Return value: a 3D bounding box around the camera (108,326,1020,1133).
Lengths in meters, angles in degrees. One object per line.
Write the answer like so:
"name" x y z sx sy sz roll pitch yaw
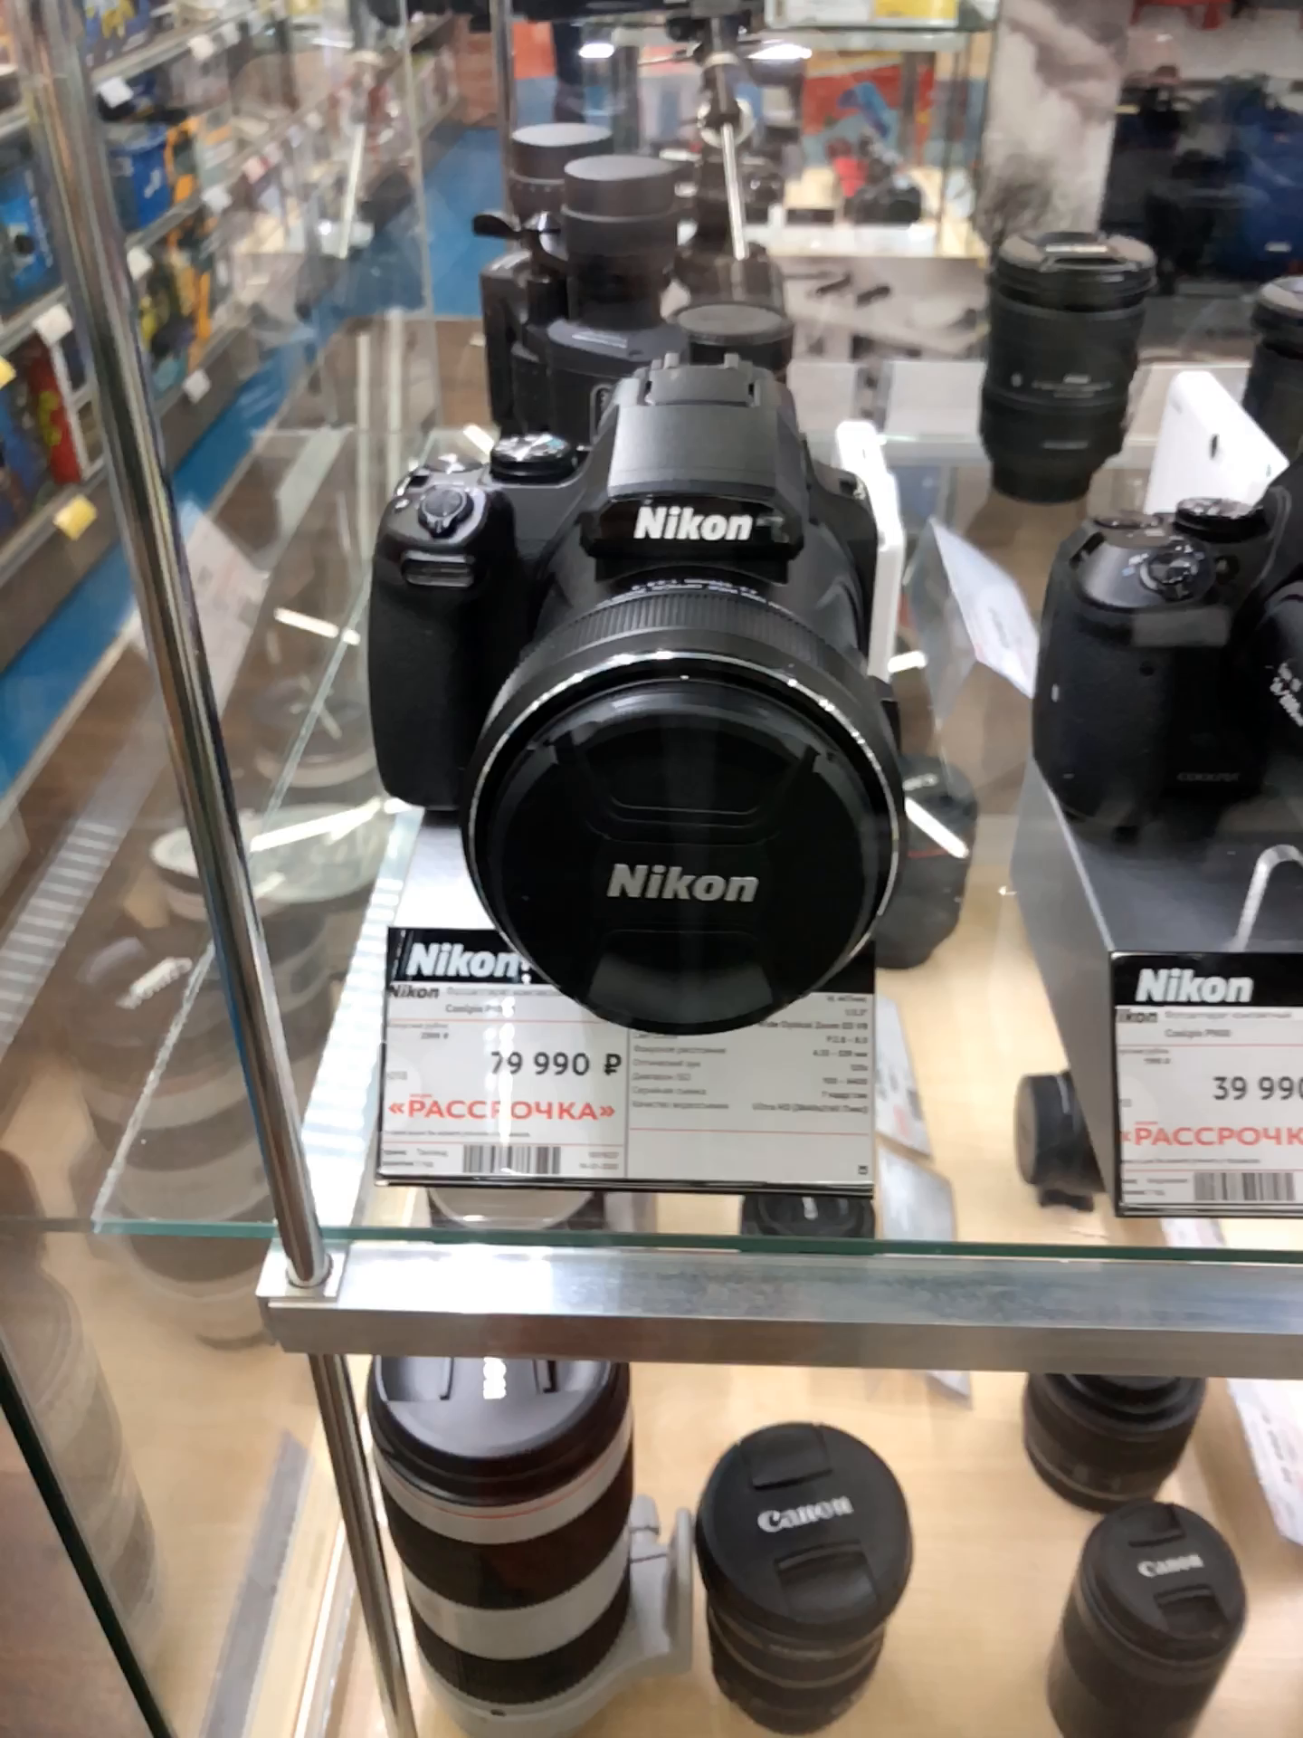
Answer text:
"camera" -0.012 -0.050 0.368 0.160 0.113 0.201 1 36 2
